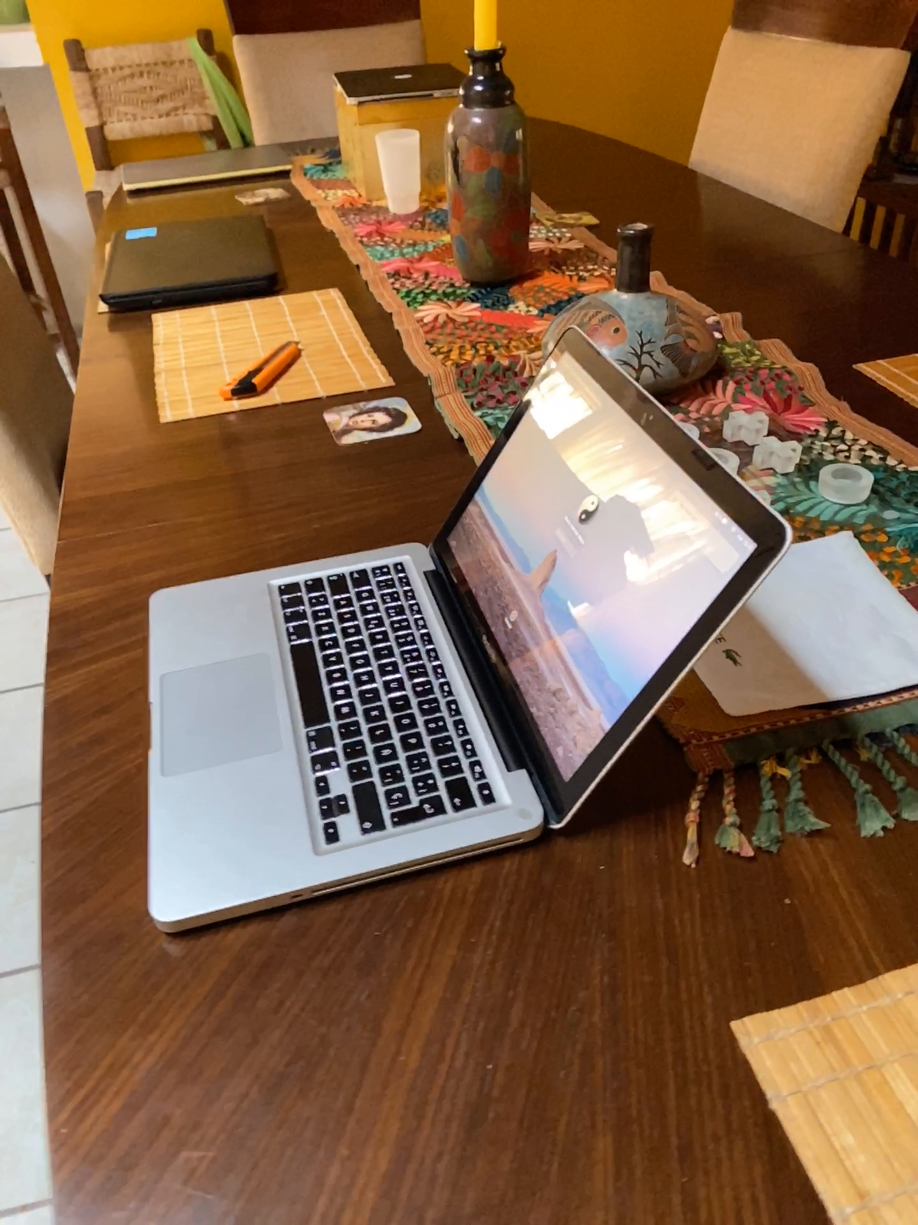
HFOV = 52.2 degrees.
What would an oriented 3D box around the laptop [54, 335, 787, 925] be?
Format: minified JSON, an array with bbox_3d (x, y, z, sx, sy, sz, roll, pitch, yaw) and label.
[{"bbox_3d":[-0.044,-0.022,0.624,0.357,0.170,0.326,-11,37,-10],"label":"laptop"}]
